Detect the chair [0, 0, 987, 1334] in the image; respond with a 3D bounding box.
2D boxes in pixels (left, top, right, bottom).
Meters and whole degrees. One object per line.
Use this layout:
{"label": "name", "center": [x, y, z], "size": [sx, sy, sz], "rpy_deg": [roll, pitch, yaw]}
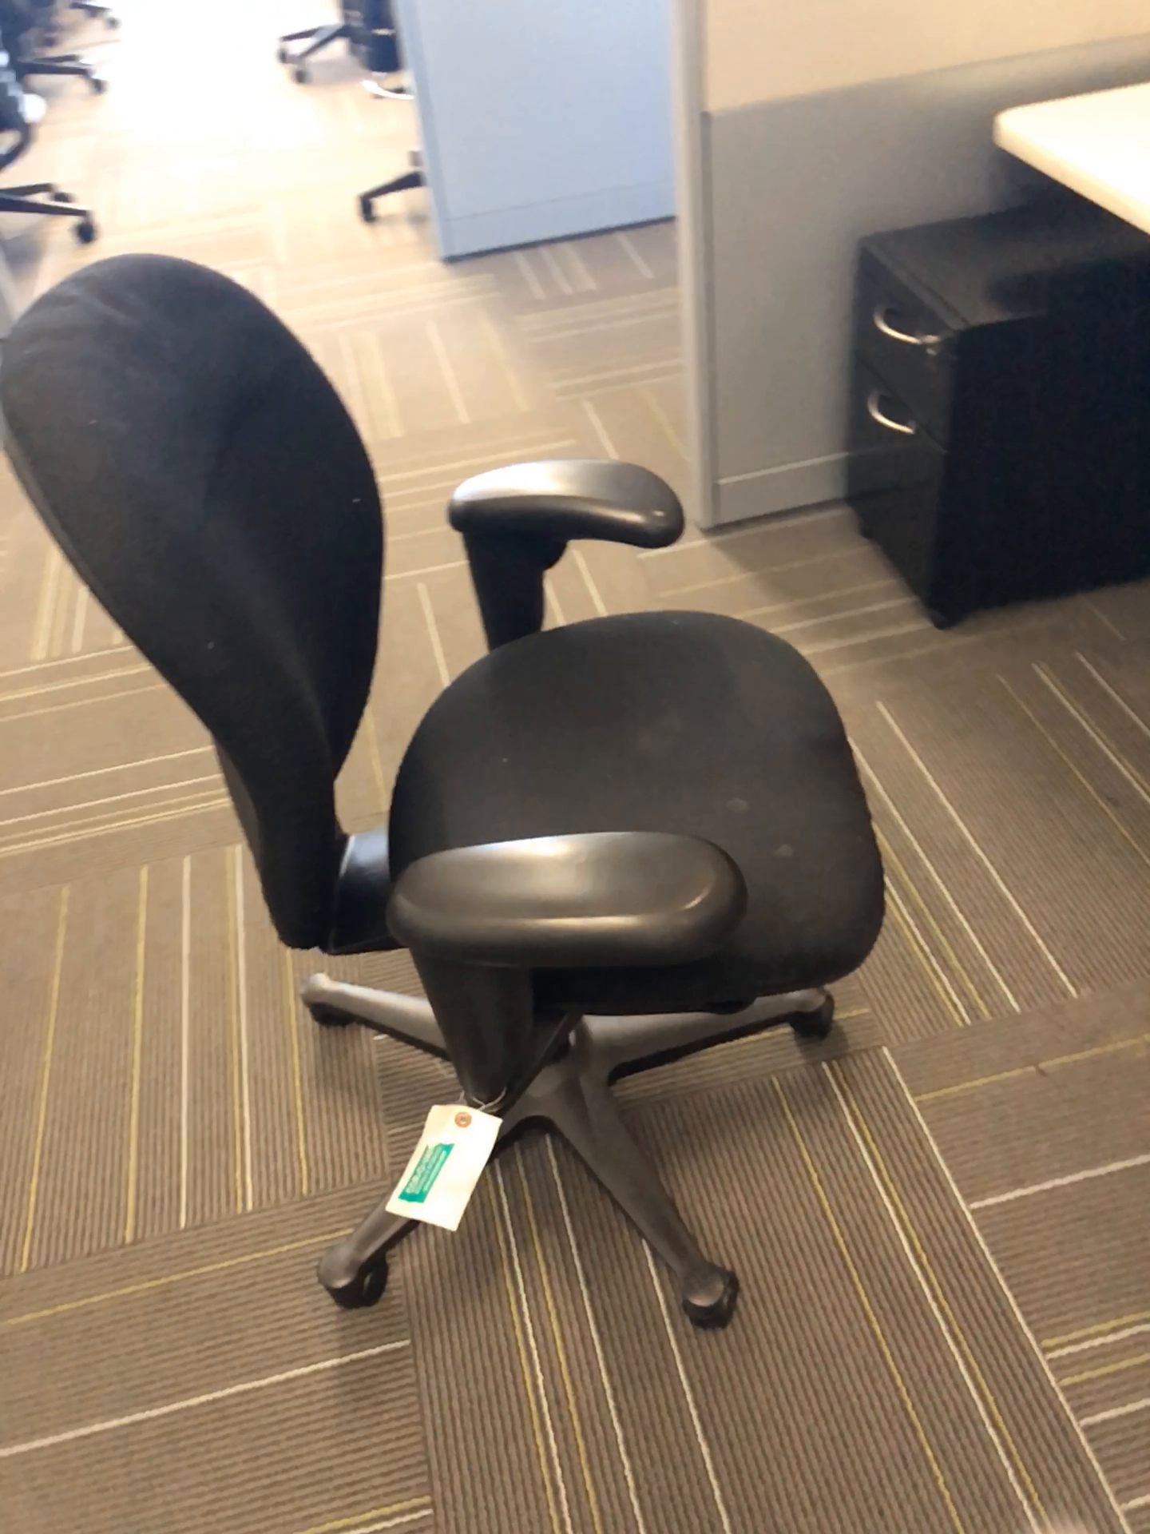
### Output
{"label": "chair", "center": [-0.071, -0.059, 1.202], "size": [0.680, 0.995, 0.703], "rpy_deg": [-1, 41, 8]}
